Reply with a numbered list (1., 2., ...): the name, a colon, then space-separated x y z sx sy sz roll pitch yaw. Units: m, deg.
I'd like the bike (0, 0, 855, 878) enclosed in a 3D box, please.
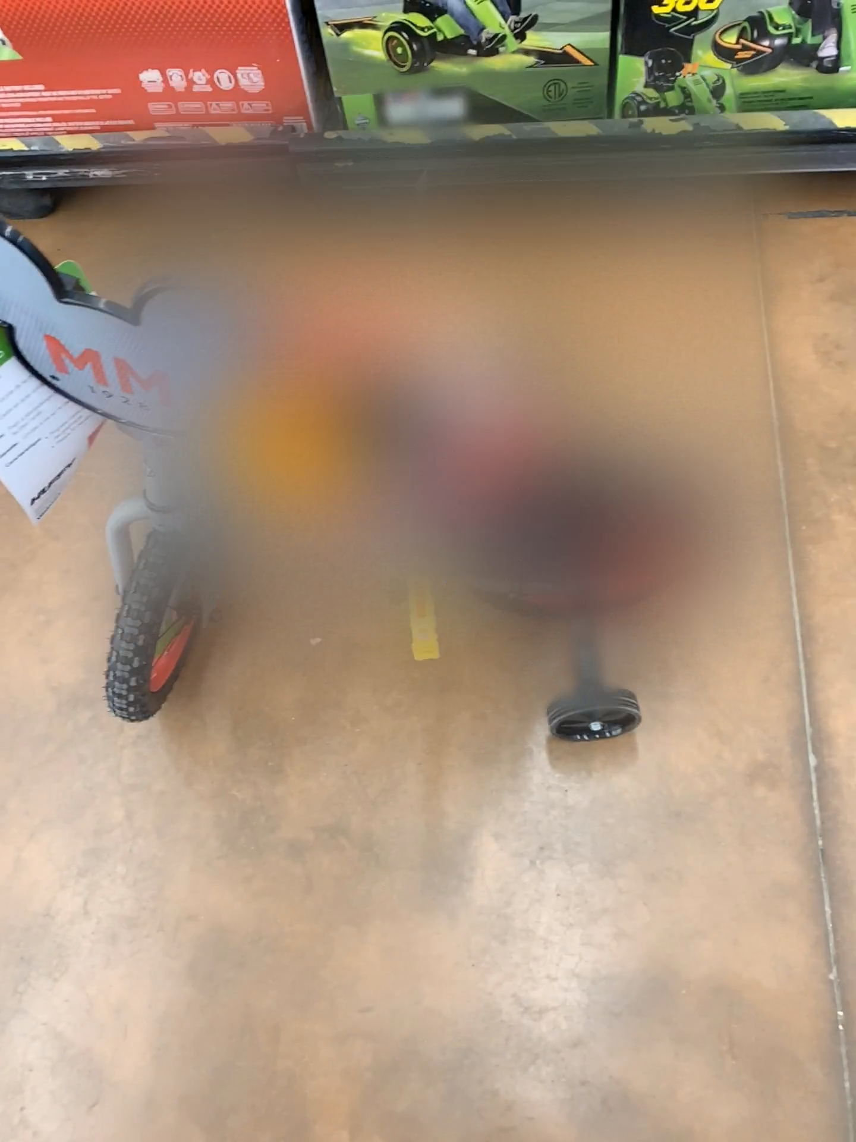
1. bike: -0.061 -0.091 0.868 0.640 0.689 0.453 -14 56 3
